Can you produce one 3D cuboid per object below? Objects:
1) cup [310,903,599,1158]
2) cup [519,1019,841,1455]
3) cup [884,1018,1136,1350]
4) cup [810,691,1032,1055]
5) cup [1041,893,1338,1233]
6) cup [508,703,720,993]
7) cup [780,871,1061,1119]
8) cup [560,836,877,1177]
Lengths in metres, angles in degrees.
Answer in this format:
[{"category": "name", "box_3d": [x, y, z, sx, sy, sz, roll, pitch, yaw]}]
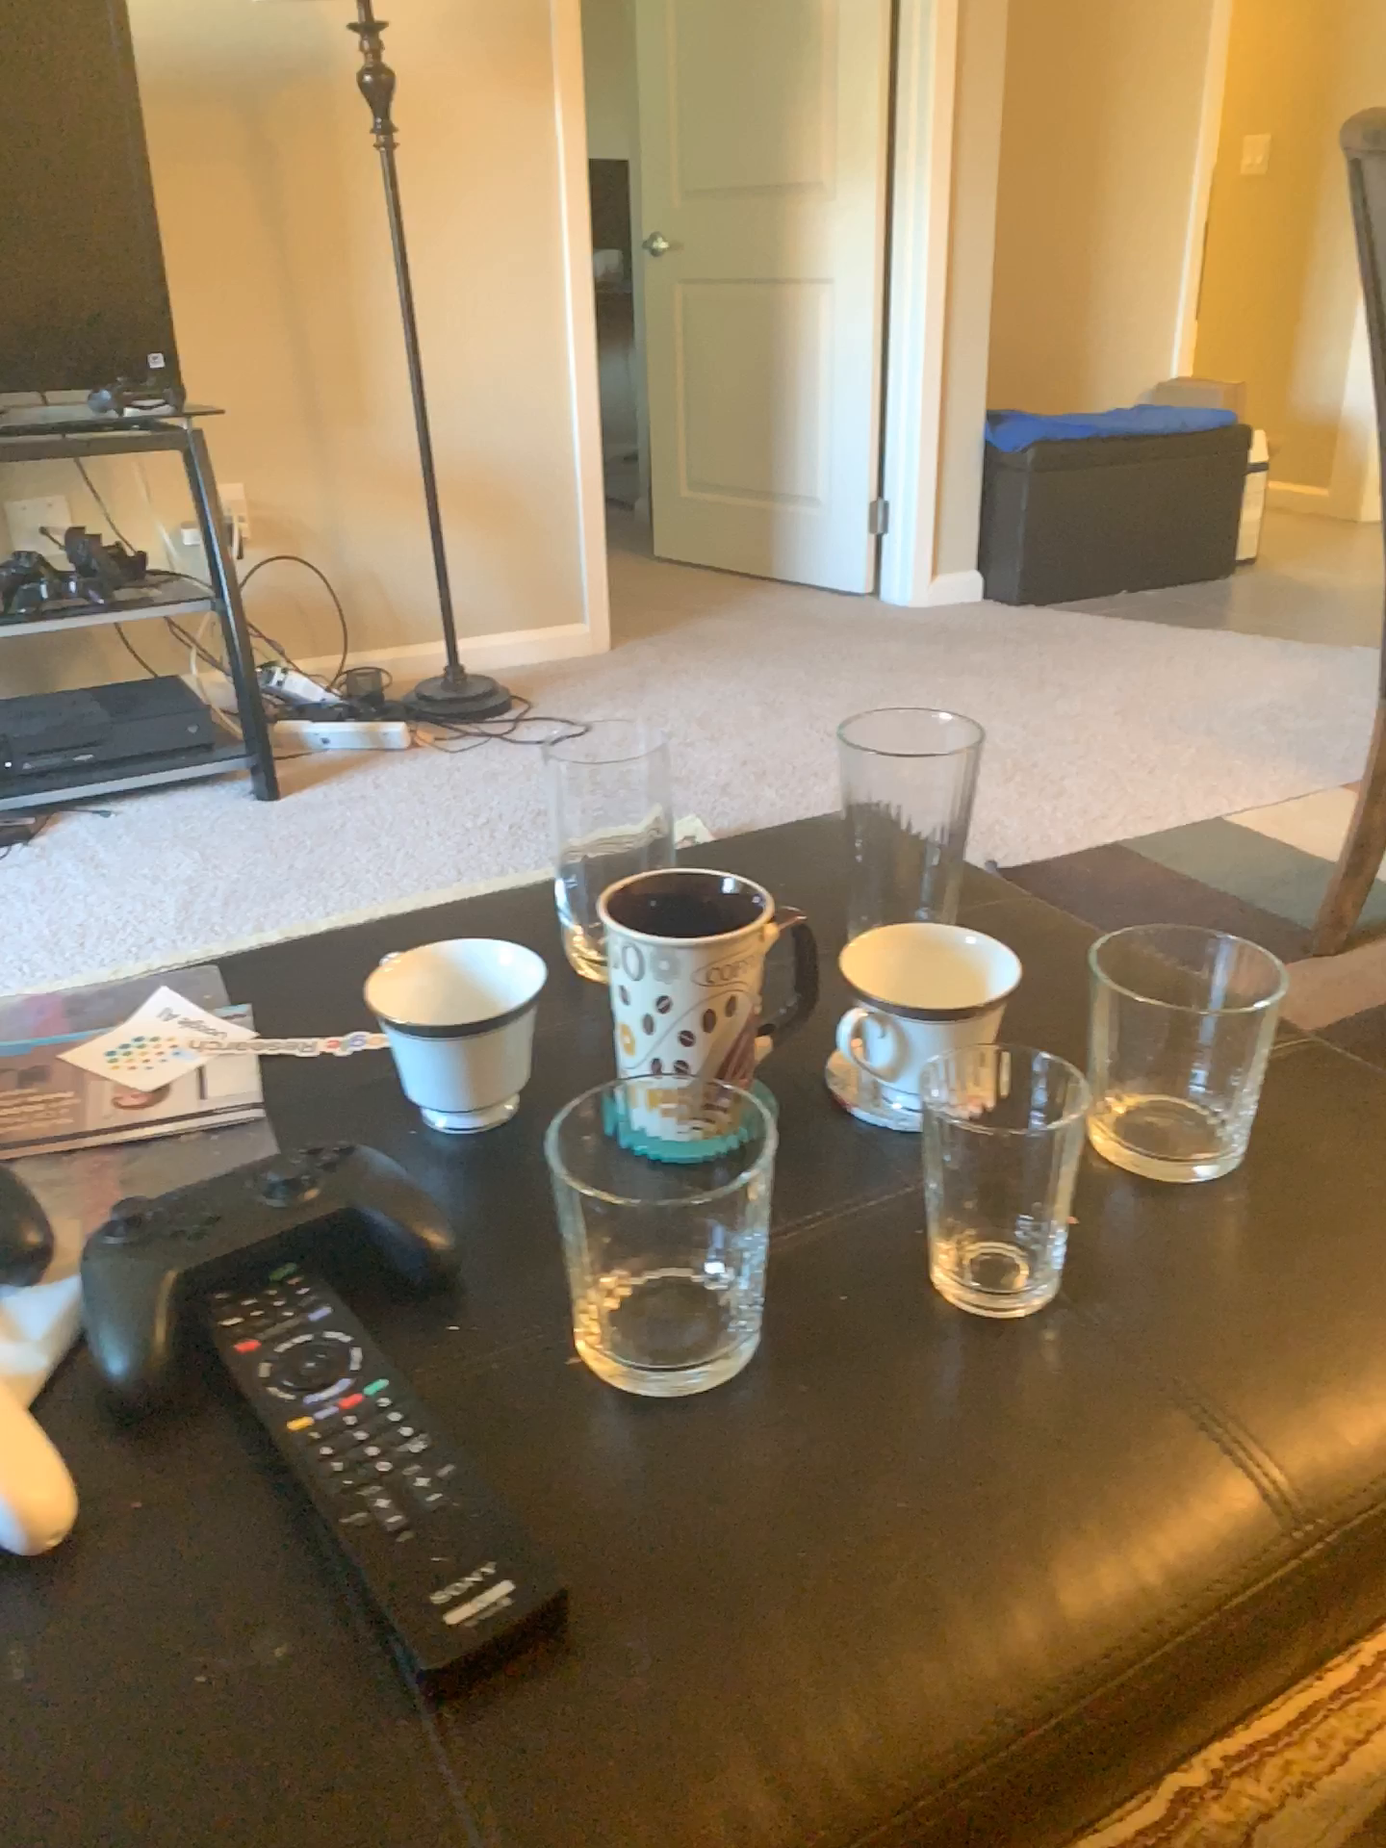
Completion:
[{"category": "cup", "box_3d": [-0.121, 0.052, 0.741, 0.110, 0.080, 0.090, 11, 27, 24]}, {"category": "cup", "box_3d": [-0.005, 0.122, 0.575, 0.090, 0.119, 0.090, -1, 25, 1]}, {"category": "cup", "box_3d": [0.133, 0.108, 0.606, 0.070, 0.099, 0.070, -1, 25, 1]}, {"category": "cup", "box_3d": [0.137, -0.034, 0.876, 0.090, 0.189, 0.090, -1, 25, 1]}, {"category": "cup", "box_3d": [0.243, 0.065, 0.706, 0.090, 0.119, 0.090, -1, 25, 1]}, {"category": "cup", "box_3d": [-0.047, -0.049, 0.871, 0.090, 0.139, 0.090, -1, 25, 1]}, {"category": "cup", "box_3d": [0.116, 0.033, 0.736, 0.110, 0.070, 0.090, -20, 30, -34]}, {"category": "cup", "box_3d": [0.014, 0.038, 0.733, 0.130, 0.119, 0.090, -15, 28, -27]}]
